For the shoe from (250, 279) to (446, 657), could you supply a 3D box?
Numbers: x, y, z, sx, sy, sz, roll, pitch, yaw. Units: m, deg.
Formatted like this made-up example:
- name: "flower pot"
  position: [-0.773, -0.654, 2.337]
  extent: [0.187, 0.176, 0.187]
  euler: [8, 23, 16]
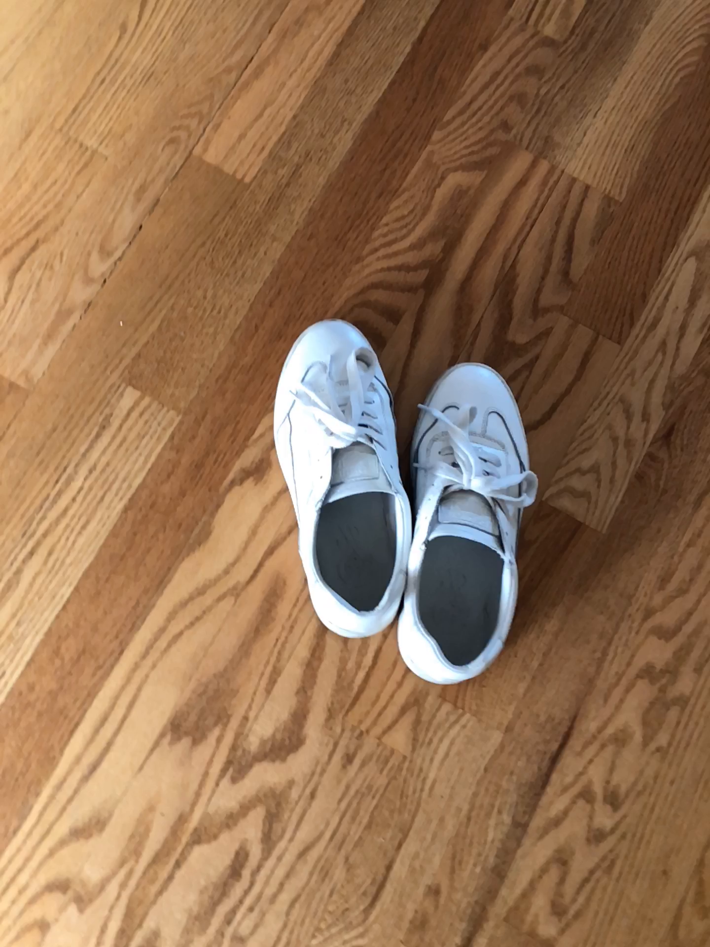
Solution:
- name: "shoe"
  position: [-0.009, -0.001, 0.603]
  extent: [0.102, 0.104, 0.260]
  euler: [-8, 80, -4]

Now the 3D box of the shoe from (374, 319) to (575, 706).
- name: "shoe"
  position: [0.088, 0.031, 0.599]
  extent: [0.102, 0.107, 0.260]
  euler: [9, 80, -1]
